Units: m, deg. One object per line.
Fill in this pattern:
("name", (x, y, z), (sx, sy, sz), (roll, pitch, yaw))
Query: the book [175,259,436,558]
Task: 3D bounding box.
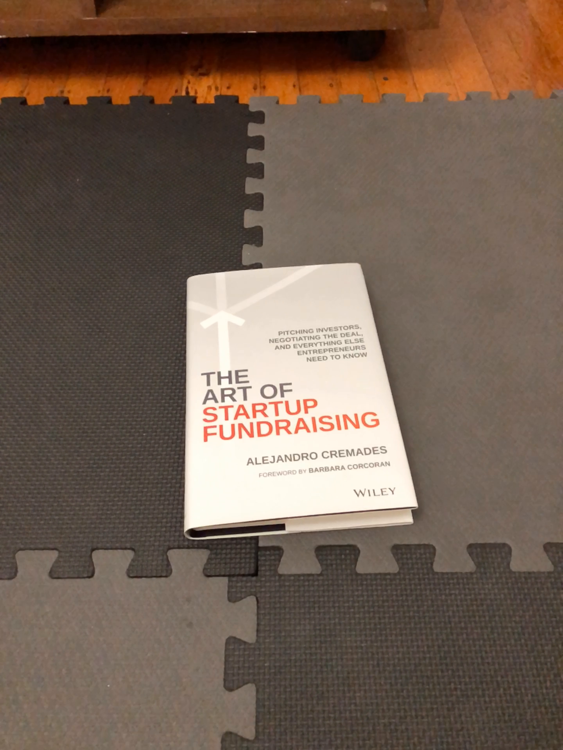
("book", (0.008, 0.010, 0.490), (0.170, 0.030, 0.251), (-4, 53, -2))
